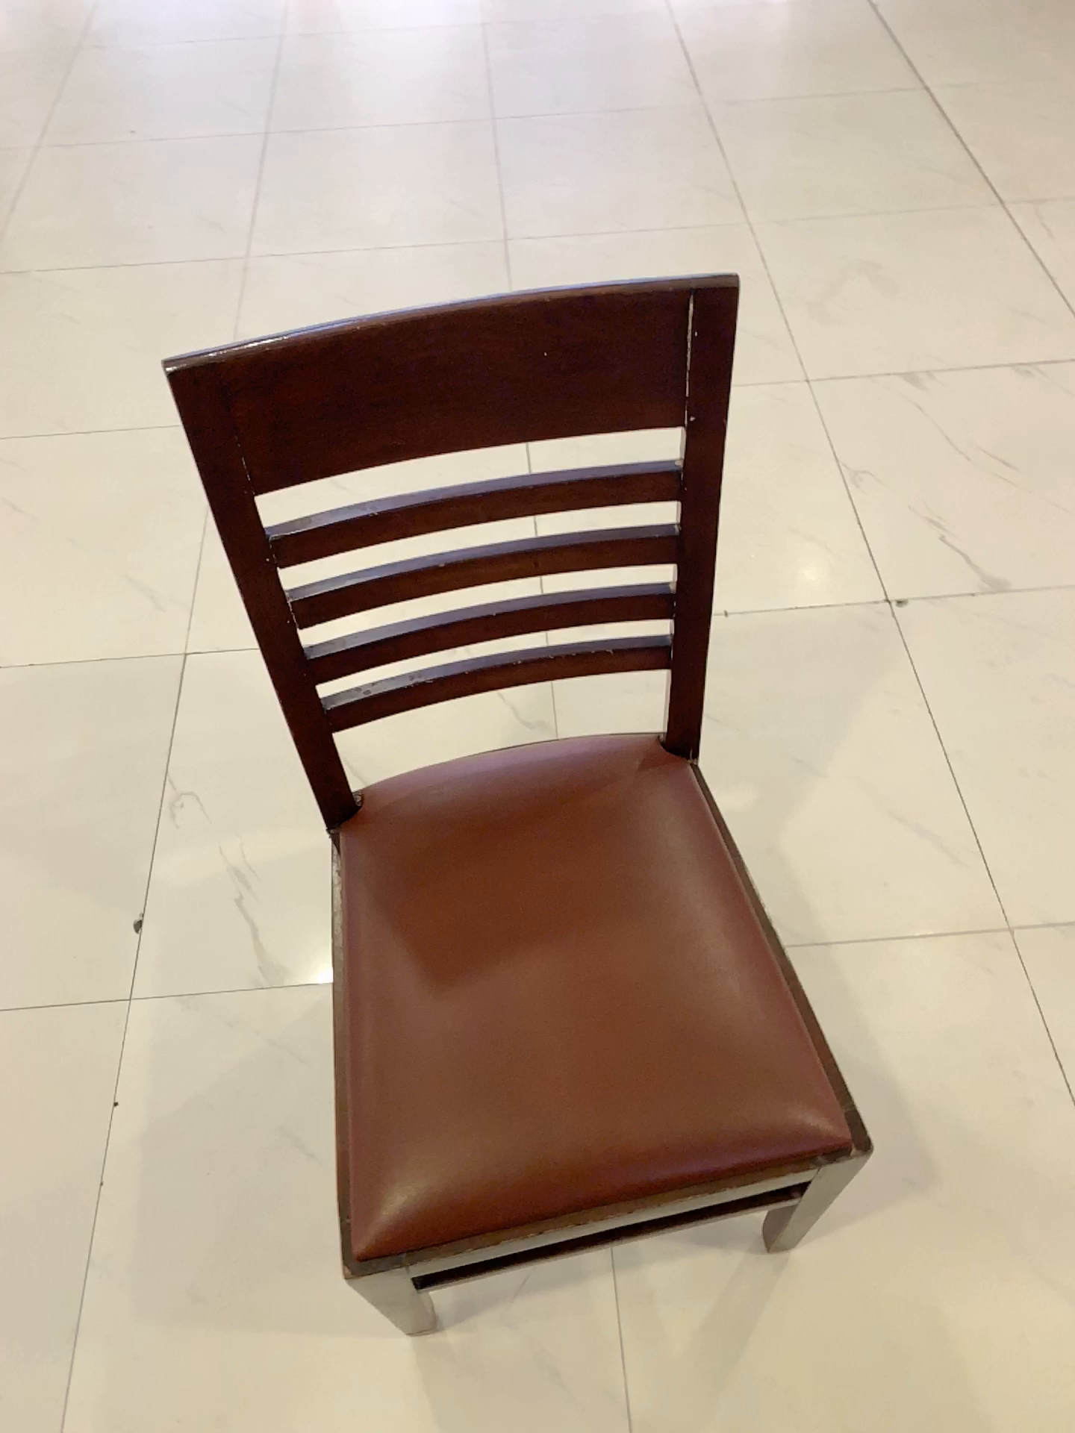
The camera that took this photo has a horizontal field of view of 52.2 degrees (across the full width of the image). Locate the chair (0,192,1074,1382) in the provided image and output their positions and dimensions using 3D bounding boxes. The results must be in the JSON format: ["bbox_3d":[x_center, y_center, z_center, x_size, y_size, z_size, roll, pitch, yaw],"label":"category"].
[{"bbox_3d":[-0.022,0.122,0.906,0.560,0.785,0.544,-10,53,-6],"label":"chair"}]
